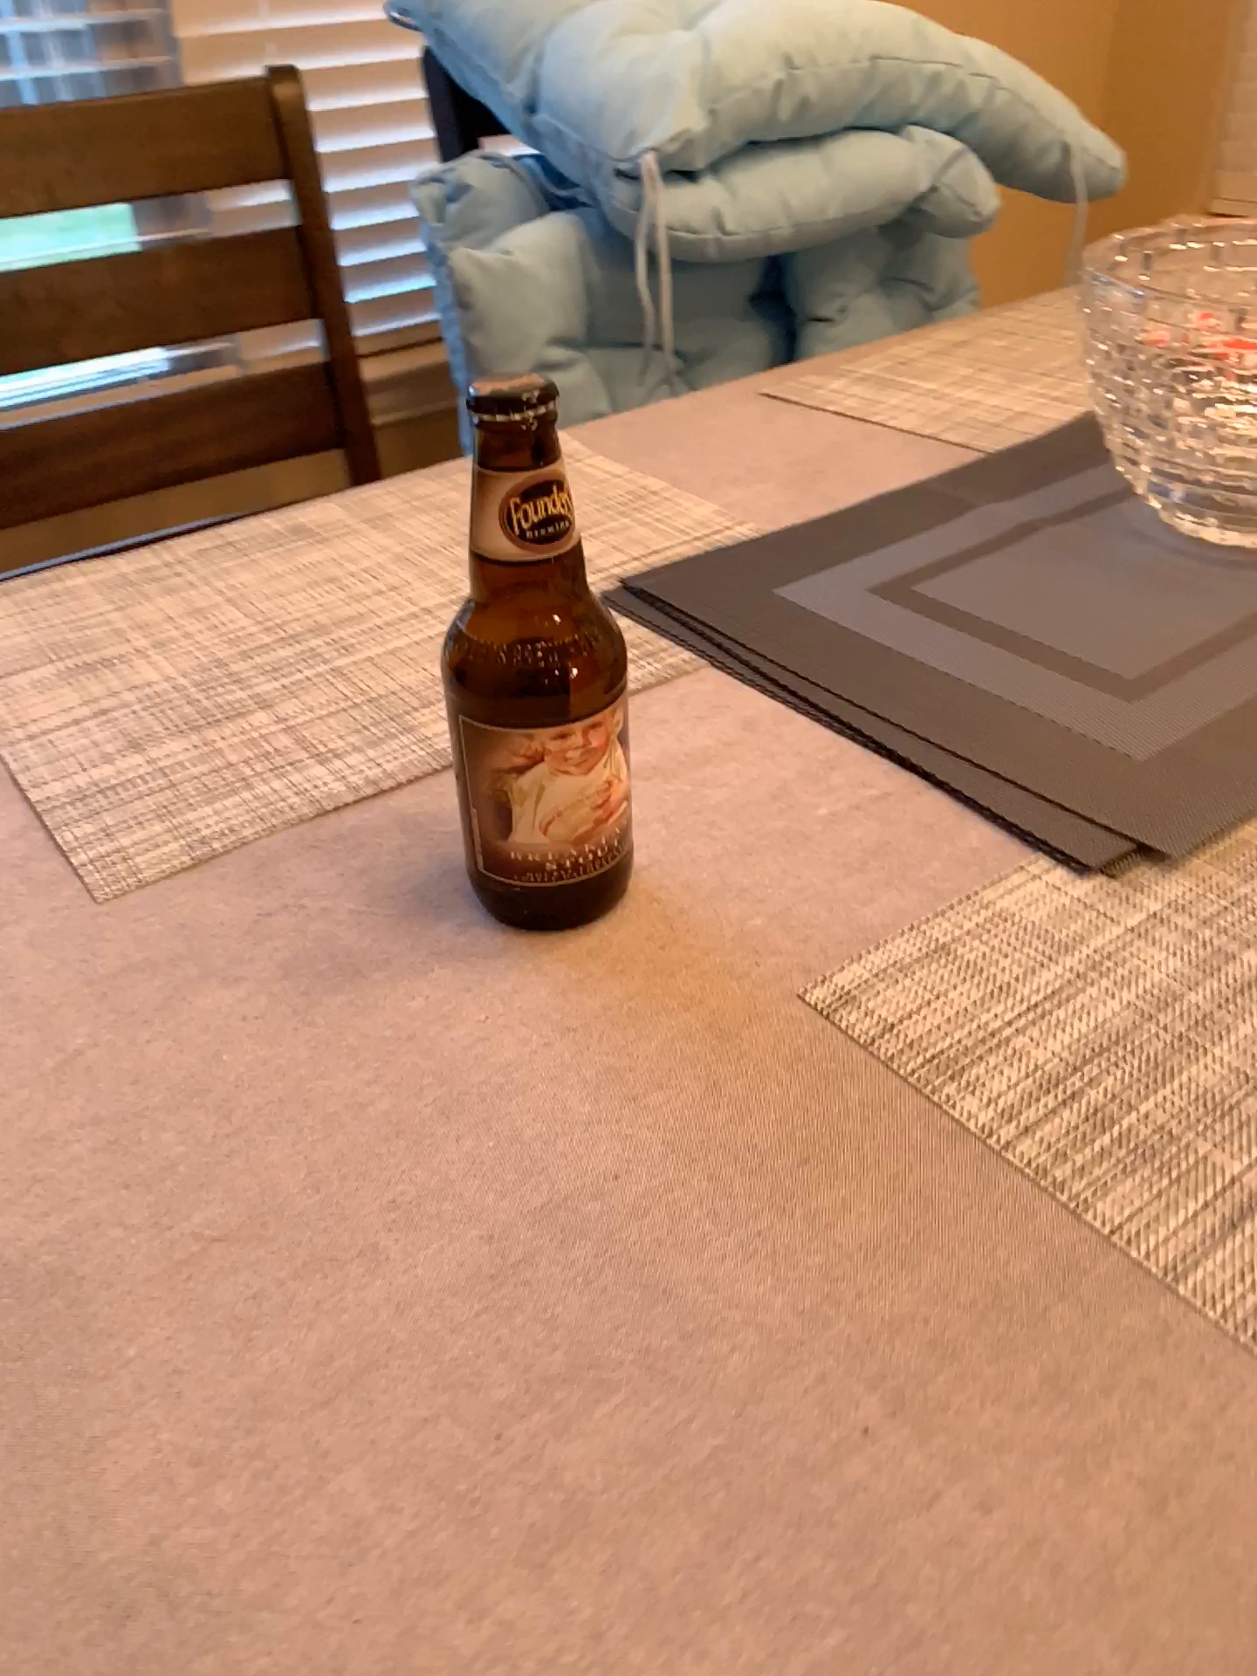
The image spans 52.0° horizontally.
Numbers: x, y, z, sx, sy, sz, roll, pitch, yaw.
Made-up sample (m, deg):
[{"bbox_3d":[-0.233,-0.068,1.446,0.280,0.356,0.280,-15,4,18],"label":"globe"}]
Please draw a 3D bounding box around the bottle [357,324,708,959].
[{"bbox_3d":[-0.028,-0.066,0.450,0.080,0.189,0.080,-2,35,1],"label":"bottle"}]
